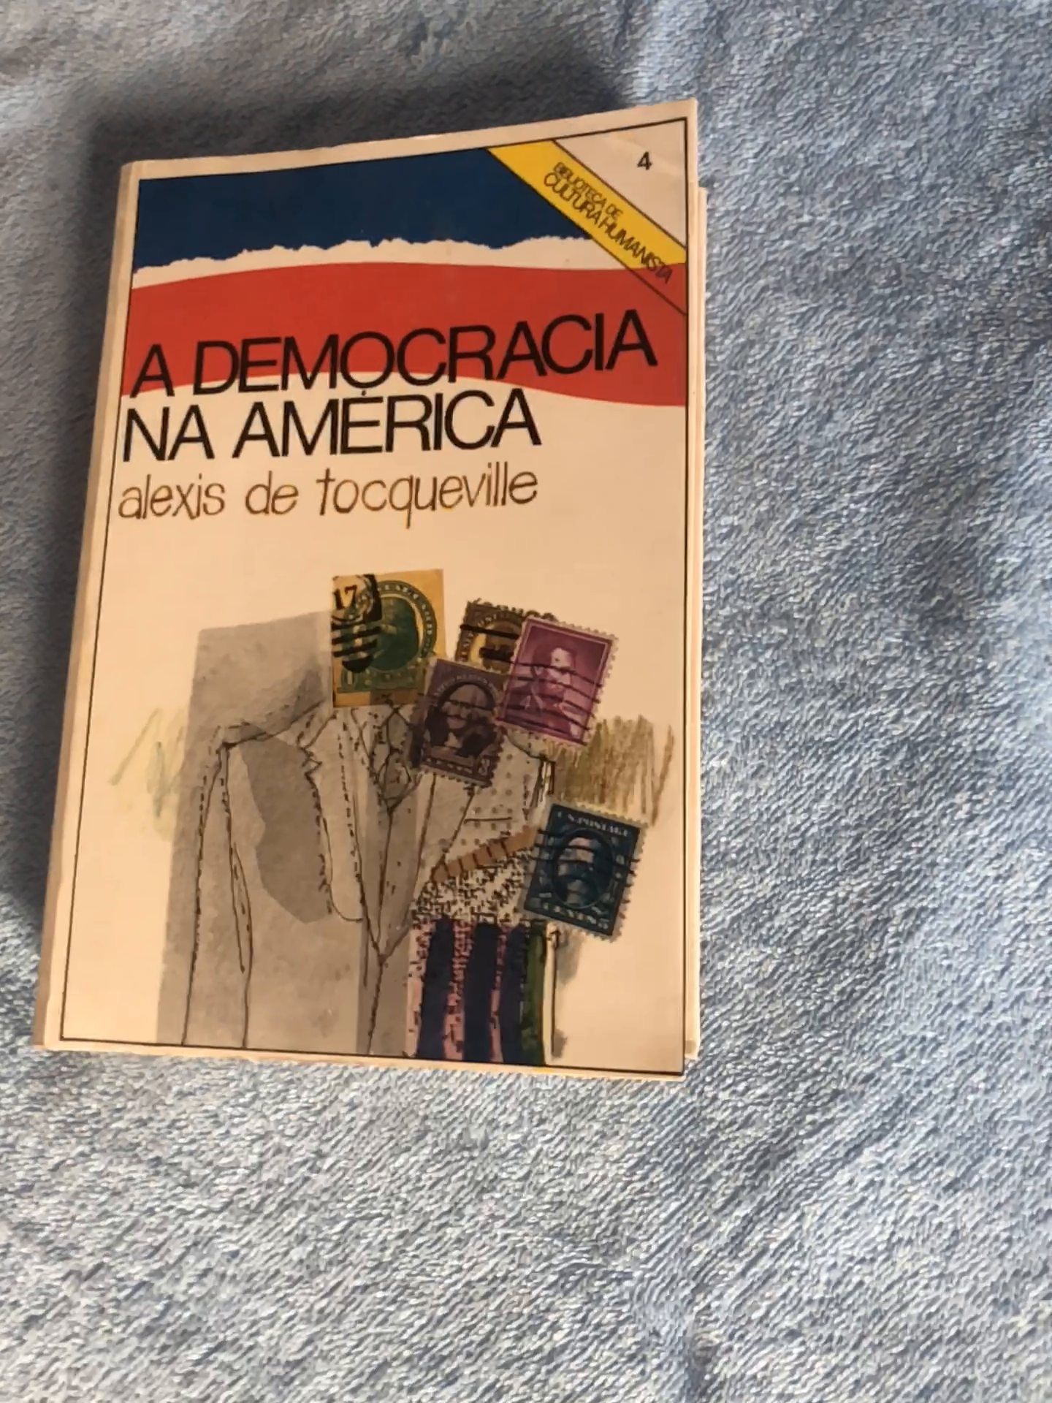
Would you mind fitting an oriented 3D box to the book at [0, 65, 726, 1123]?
[{"bbox_3d":[-0.028,-0.022,0.255,0.140,0.050,0.200,0,84,10],"label":"book"}]
